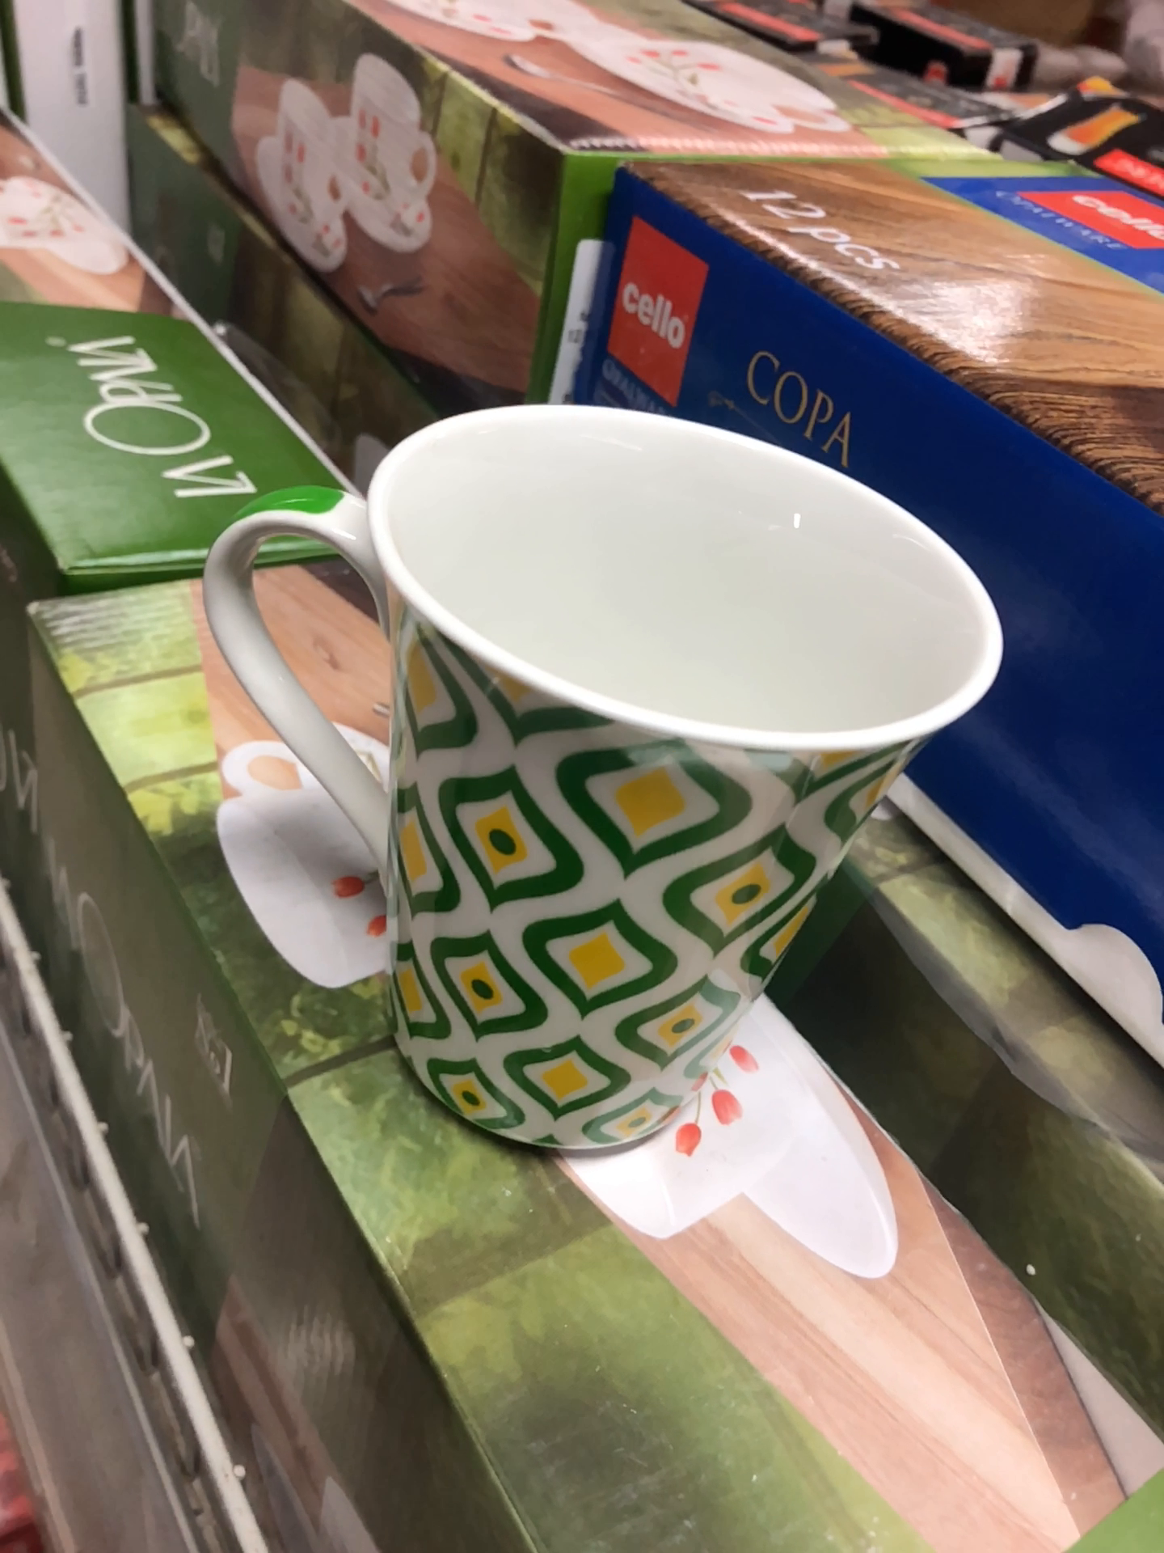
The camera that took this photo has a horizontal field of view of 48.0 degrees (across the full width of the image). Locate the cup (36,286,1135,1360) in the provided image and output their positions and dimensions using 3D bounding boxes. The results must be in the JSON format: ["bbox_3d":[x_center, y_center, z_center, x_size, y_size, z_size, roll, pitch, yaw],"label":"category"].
[{"bbox_3d":[0.000,0.006,0.201,0.120,0.109,0.081,17,40,7],"label":"cup"}]
